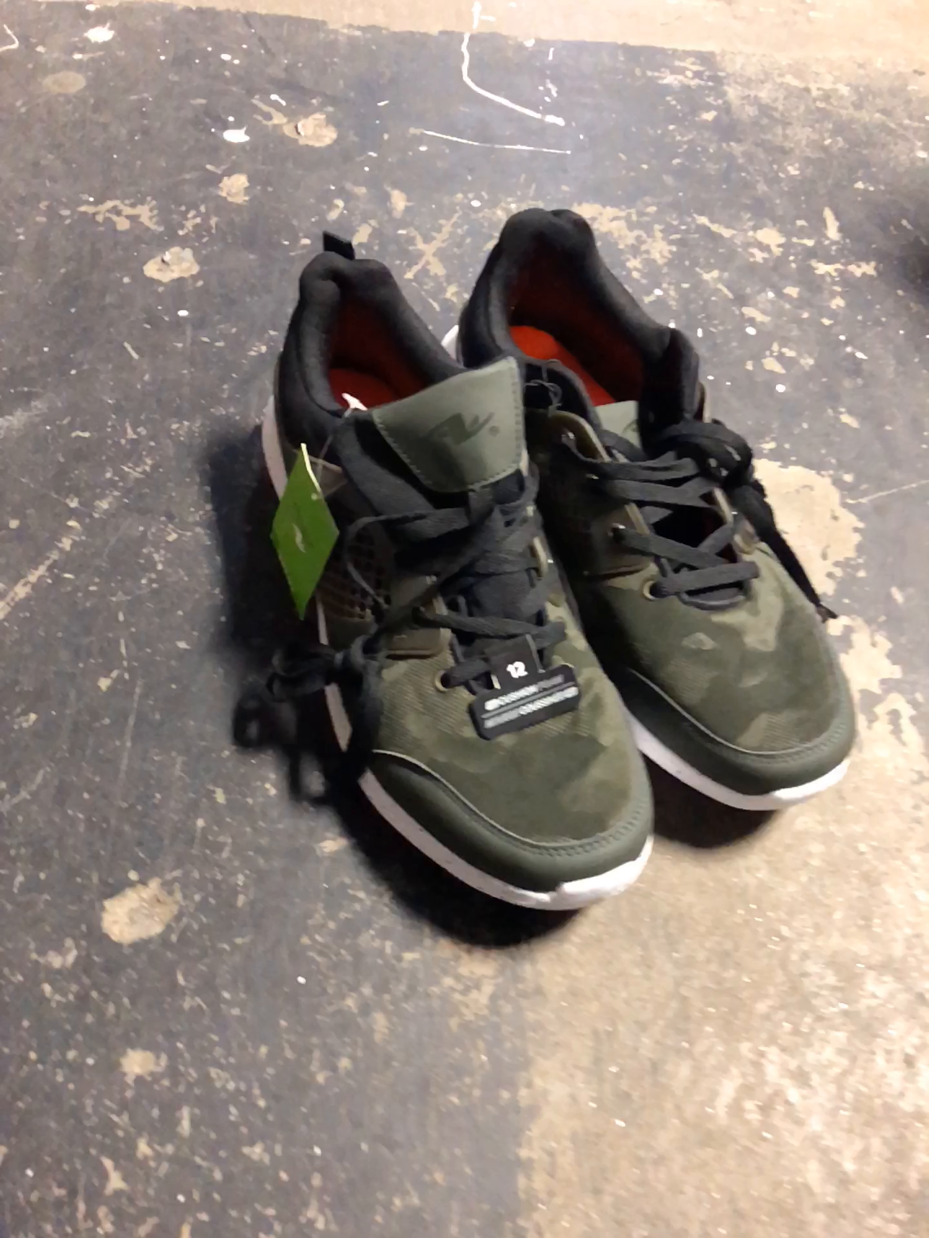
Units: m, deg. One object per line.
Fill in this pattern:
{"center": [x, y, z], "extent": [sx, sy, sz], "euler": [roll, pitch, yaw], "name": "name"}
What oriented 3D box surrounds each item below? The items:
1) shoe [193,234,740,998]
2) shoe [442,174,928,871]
{"center": [-0.020, -0.015, 0.448], "extent": [0.110, 0.119, 0.301], "euler": [-16, 60, -15], "name": "shoe"}
{"center": [0.094, -0.052, 0.456], "extent": [0.110, 0.129, 0.271], "euler": [-16, 60, -15], "name": "shoe"}
